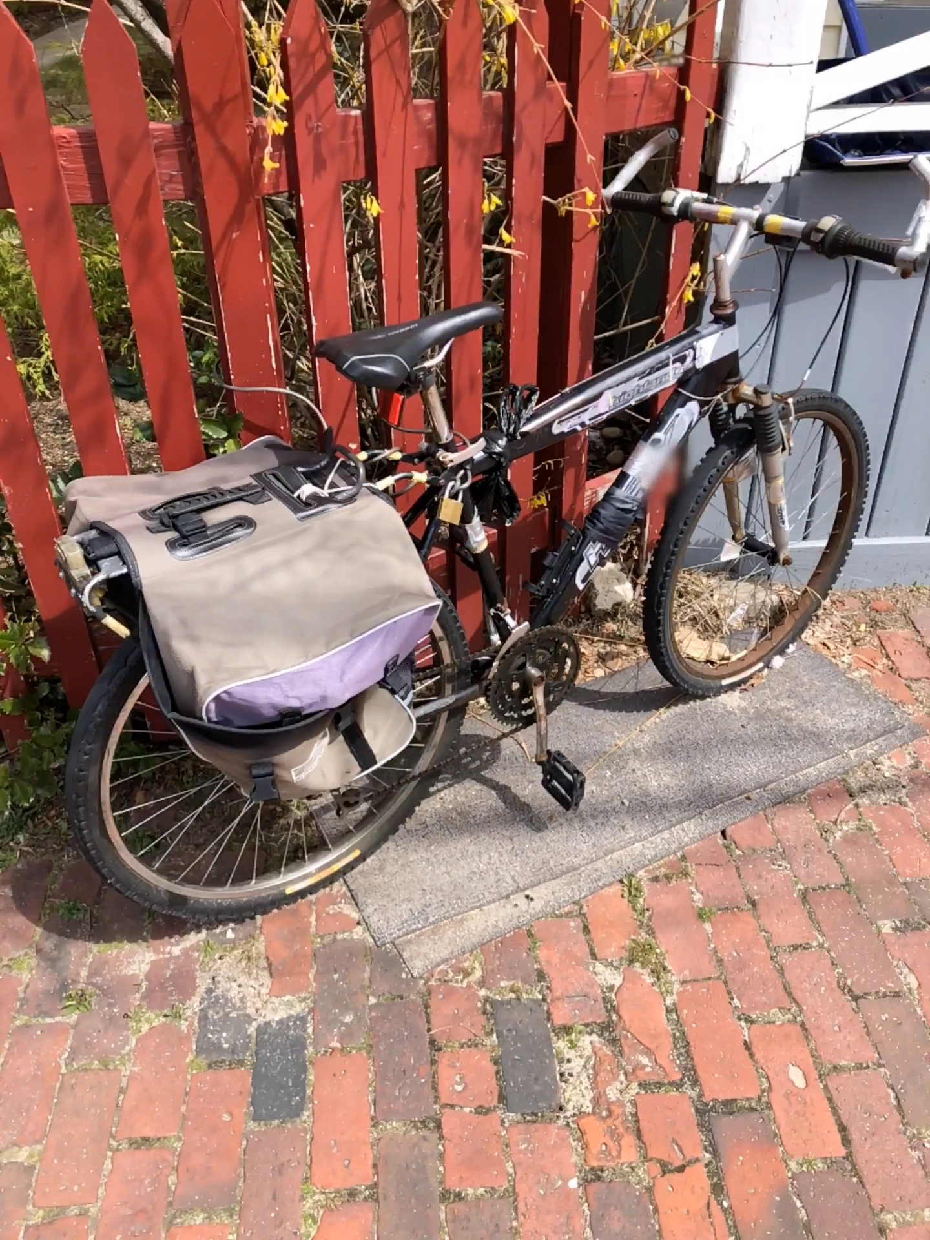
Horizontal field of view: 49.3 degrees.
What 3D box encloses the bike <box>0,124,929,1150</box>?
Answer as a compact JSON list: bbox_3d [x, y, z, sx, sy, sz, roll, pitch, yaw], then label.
[{"bbox_3d":[0.146,-0.149,1.762,1.730,1.000,0.674,-24,40,-27],"label":"bike"}]
